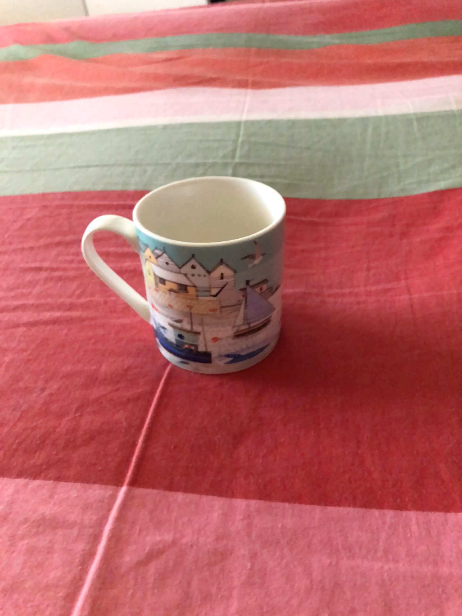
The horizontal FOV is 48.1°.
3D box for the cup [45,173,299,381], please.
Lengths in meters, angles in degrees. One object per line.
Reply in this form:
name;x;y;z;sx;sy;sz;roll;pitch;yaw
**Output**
cup;-0.024;-0.023;0.309;0.120;0.080;0.094;3;37;10
